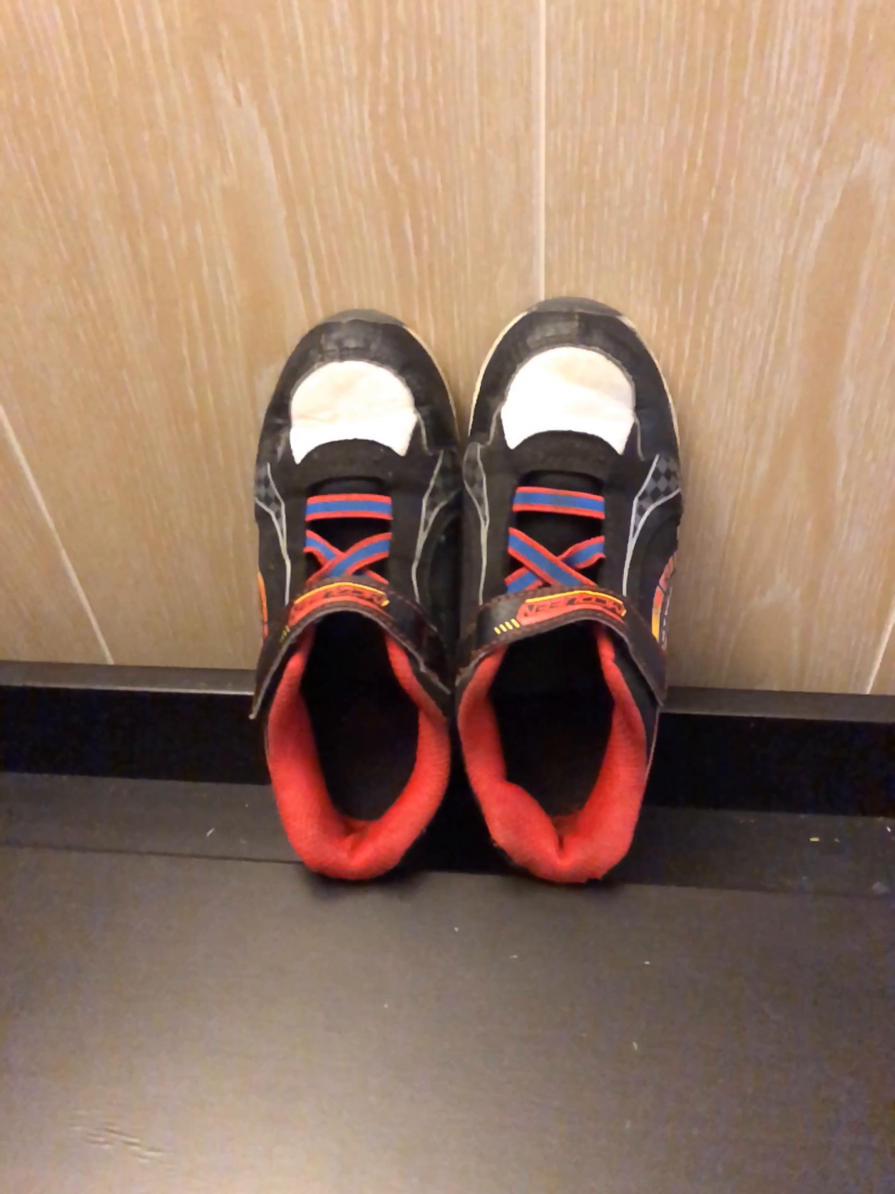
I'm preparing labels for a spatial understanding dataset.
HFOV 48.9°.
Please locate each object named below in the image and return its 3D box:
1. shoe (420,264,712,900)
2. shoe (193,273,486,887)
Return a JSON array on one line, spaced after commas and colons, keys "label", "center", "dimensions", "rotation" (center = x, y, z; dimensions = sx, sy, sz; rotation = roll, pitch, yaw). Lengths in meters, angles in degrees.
[{"label": "shoe", "center": [0.043, -0.007, 0.365], "dimensions": [0.090, 0.210, 0.070], "rotation": [2, 4, 8]}, {"label": "shoe", "center": [-0.035, -0.007, 0.361], "dimensions": [0.090, 0.200, 0.070], "rotation": [1, -1, 7]}]
